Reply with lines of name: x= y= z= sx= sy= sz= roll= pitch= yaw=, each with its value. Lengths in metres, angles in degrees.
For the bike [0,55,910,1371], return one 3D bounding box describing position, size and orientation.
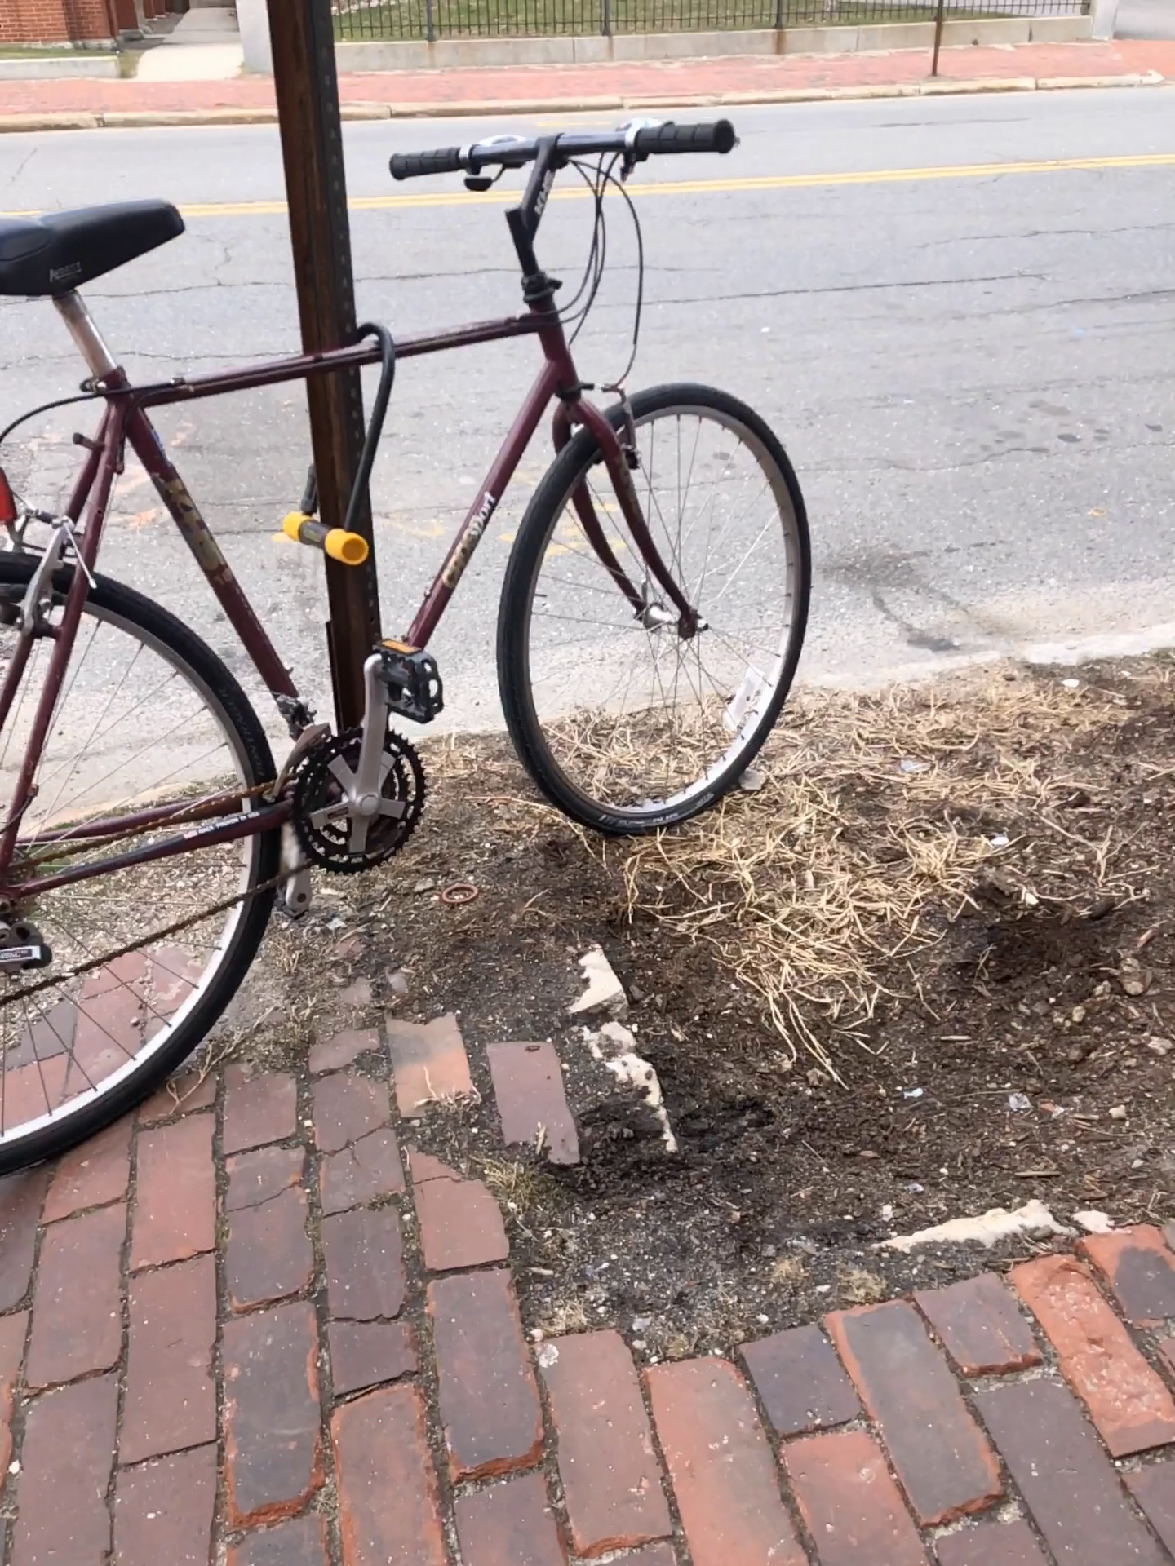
bike: x=-0.351 y=-0.304 z=1.625 sx=1.689 sy=0.962 sz=0.556 roll=-29 pitch=41 yaw=-35
